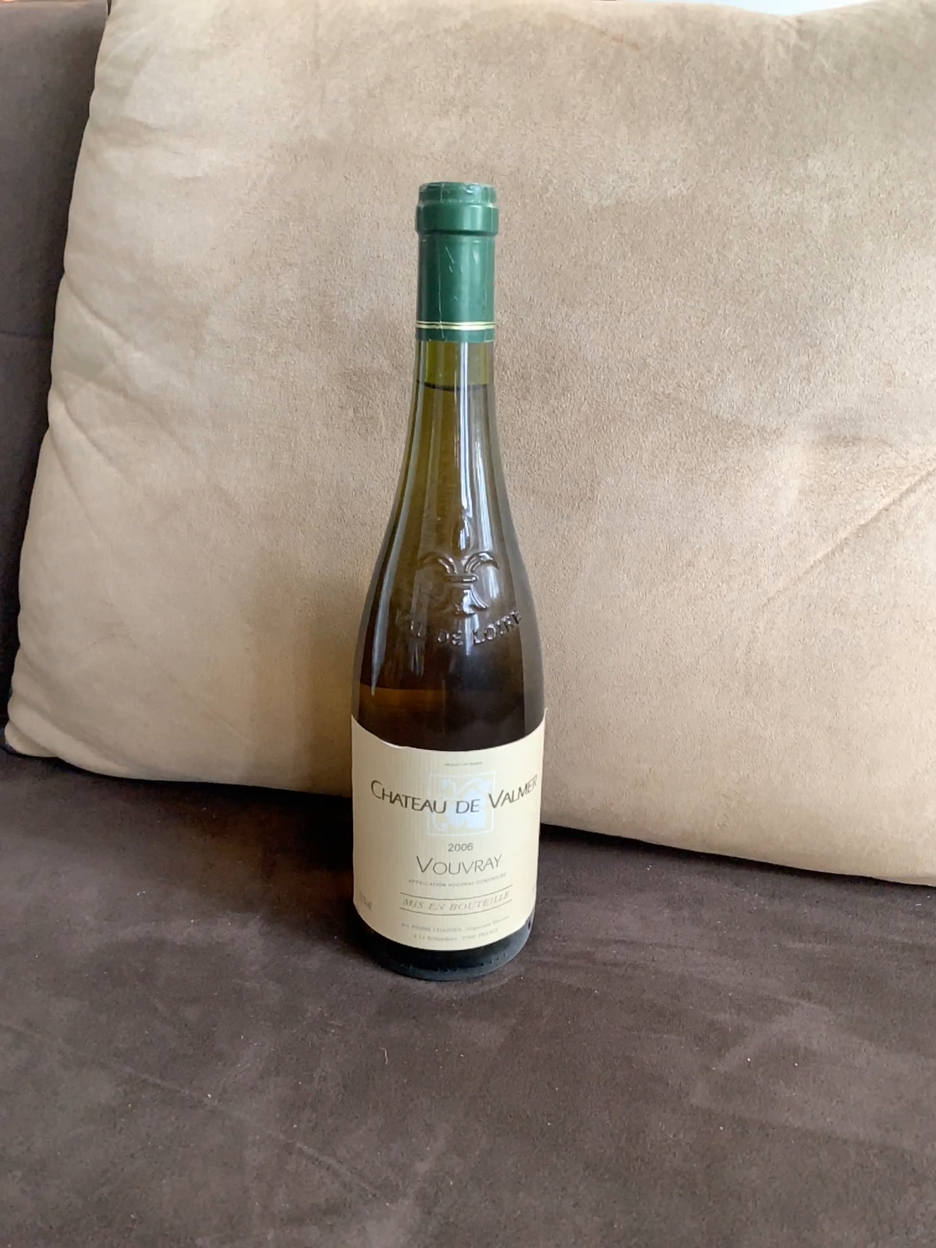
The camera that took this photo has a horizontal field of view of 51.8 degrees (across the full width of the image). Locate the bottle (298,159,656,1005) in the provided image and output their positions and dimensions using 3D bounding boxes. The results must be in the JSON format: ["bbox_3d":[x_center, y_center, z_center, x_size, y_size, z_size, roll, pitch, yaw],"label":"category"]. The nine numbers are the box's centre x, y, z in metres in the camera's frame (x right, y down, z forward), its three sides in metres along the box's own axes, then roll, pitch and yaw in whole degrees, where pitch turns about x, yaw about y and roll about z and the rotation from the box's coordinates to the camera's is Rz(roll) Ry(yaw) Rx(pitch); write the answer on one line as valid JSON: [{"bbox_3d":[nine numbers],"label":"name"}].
[{"bbox_3d":[-0.008,-0.007,0.372,0.100,0.308,0.090,-2,26,-9],"label":"bottle"}]
